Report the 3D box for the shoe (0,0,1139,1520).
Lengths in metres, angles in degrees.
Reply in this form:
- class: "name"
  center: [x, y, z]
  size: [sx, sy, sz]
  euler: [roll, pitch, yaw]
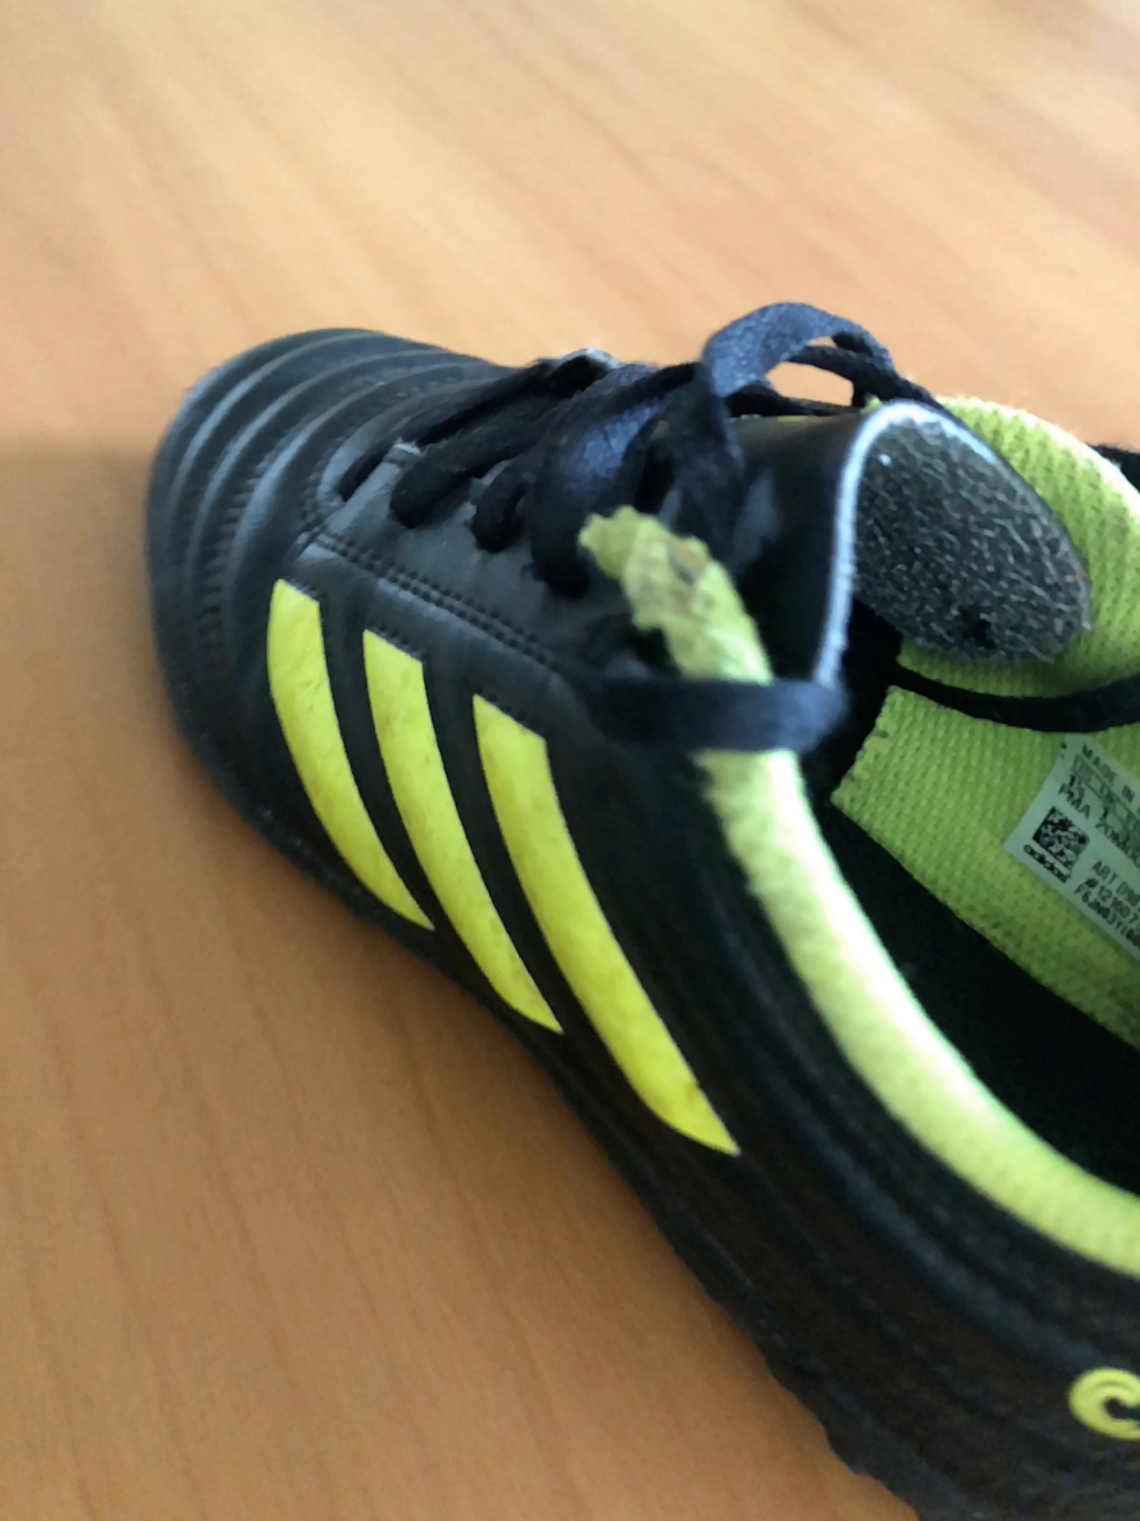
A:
- class: "shoe"
  center: [0.007, -0.010, 0.171]
  size: [0.090, 0.089, 0.220]
  euler: [-27, 58, -30]
